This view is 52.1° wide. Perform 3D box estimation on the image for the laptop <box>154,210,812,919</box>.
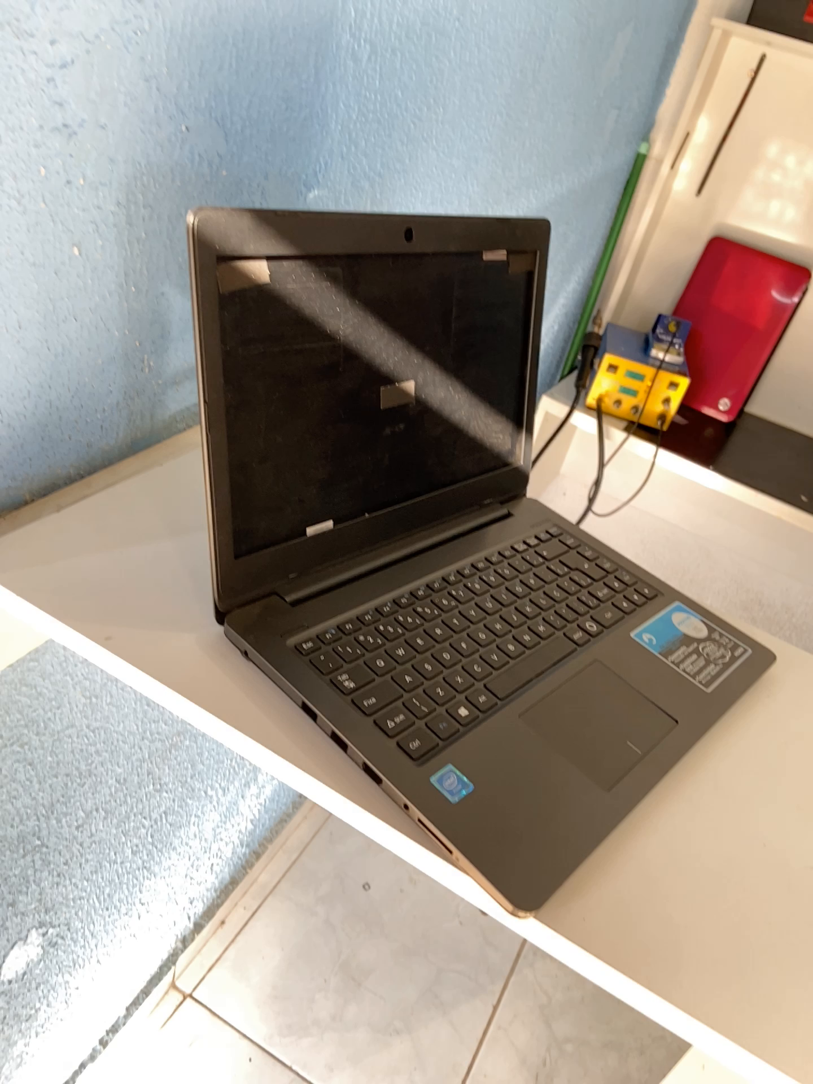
[{"bbox_3d":[0.082,-0.041,0.526,0.310,0.214,0.339,37,37,28],"label":"laptop"}]
